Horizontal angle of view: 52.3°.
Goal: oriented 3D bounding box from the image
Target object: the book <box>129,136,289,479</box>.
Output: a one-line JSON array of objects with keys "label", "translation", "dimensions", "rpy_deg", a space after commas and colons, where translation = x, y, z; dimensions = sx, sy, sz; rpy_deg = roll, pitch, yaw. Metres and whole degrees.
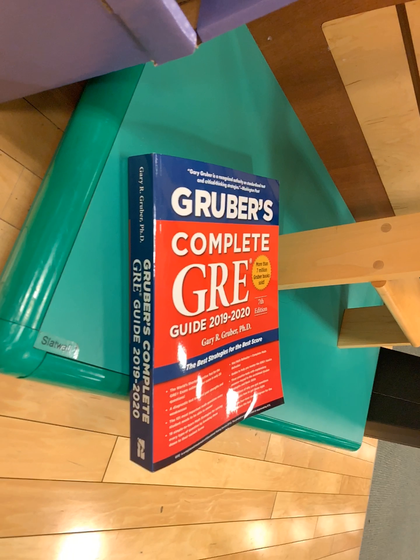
[{"label": "book", "translation": [0.010, 0.020, 0.456], "dimensions": [0.221, 0.040, 0.290], "rpy_deg": [-7, 101, -53]}]
